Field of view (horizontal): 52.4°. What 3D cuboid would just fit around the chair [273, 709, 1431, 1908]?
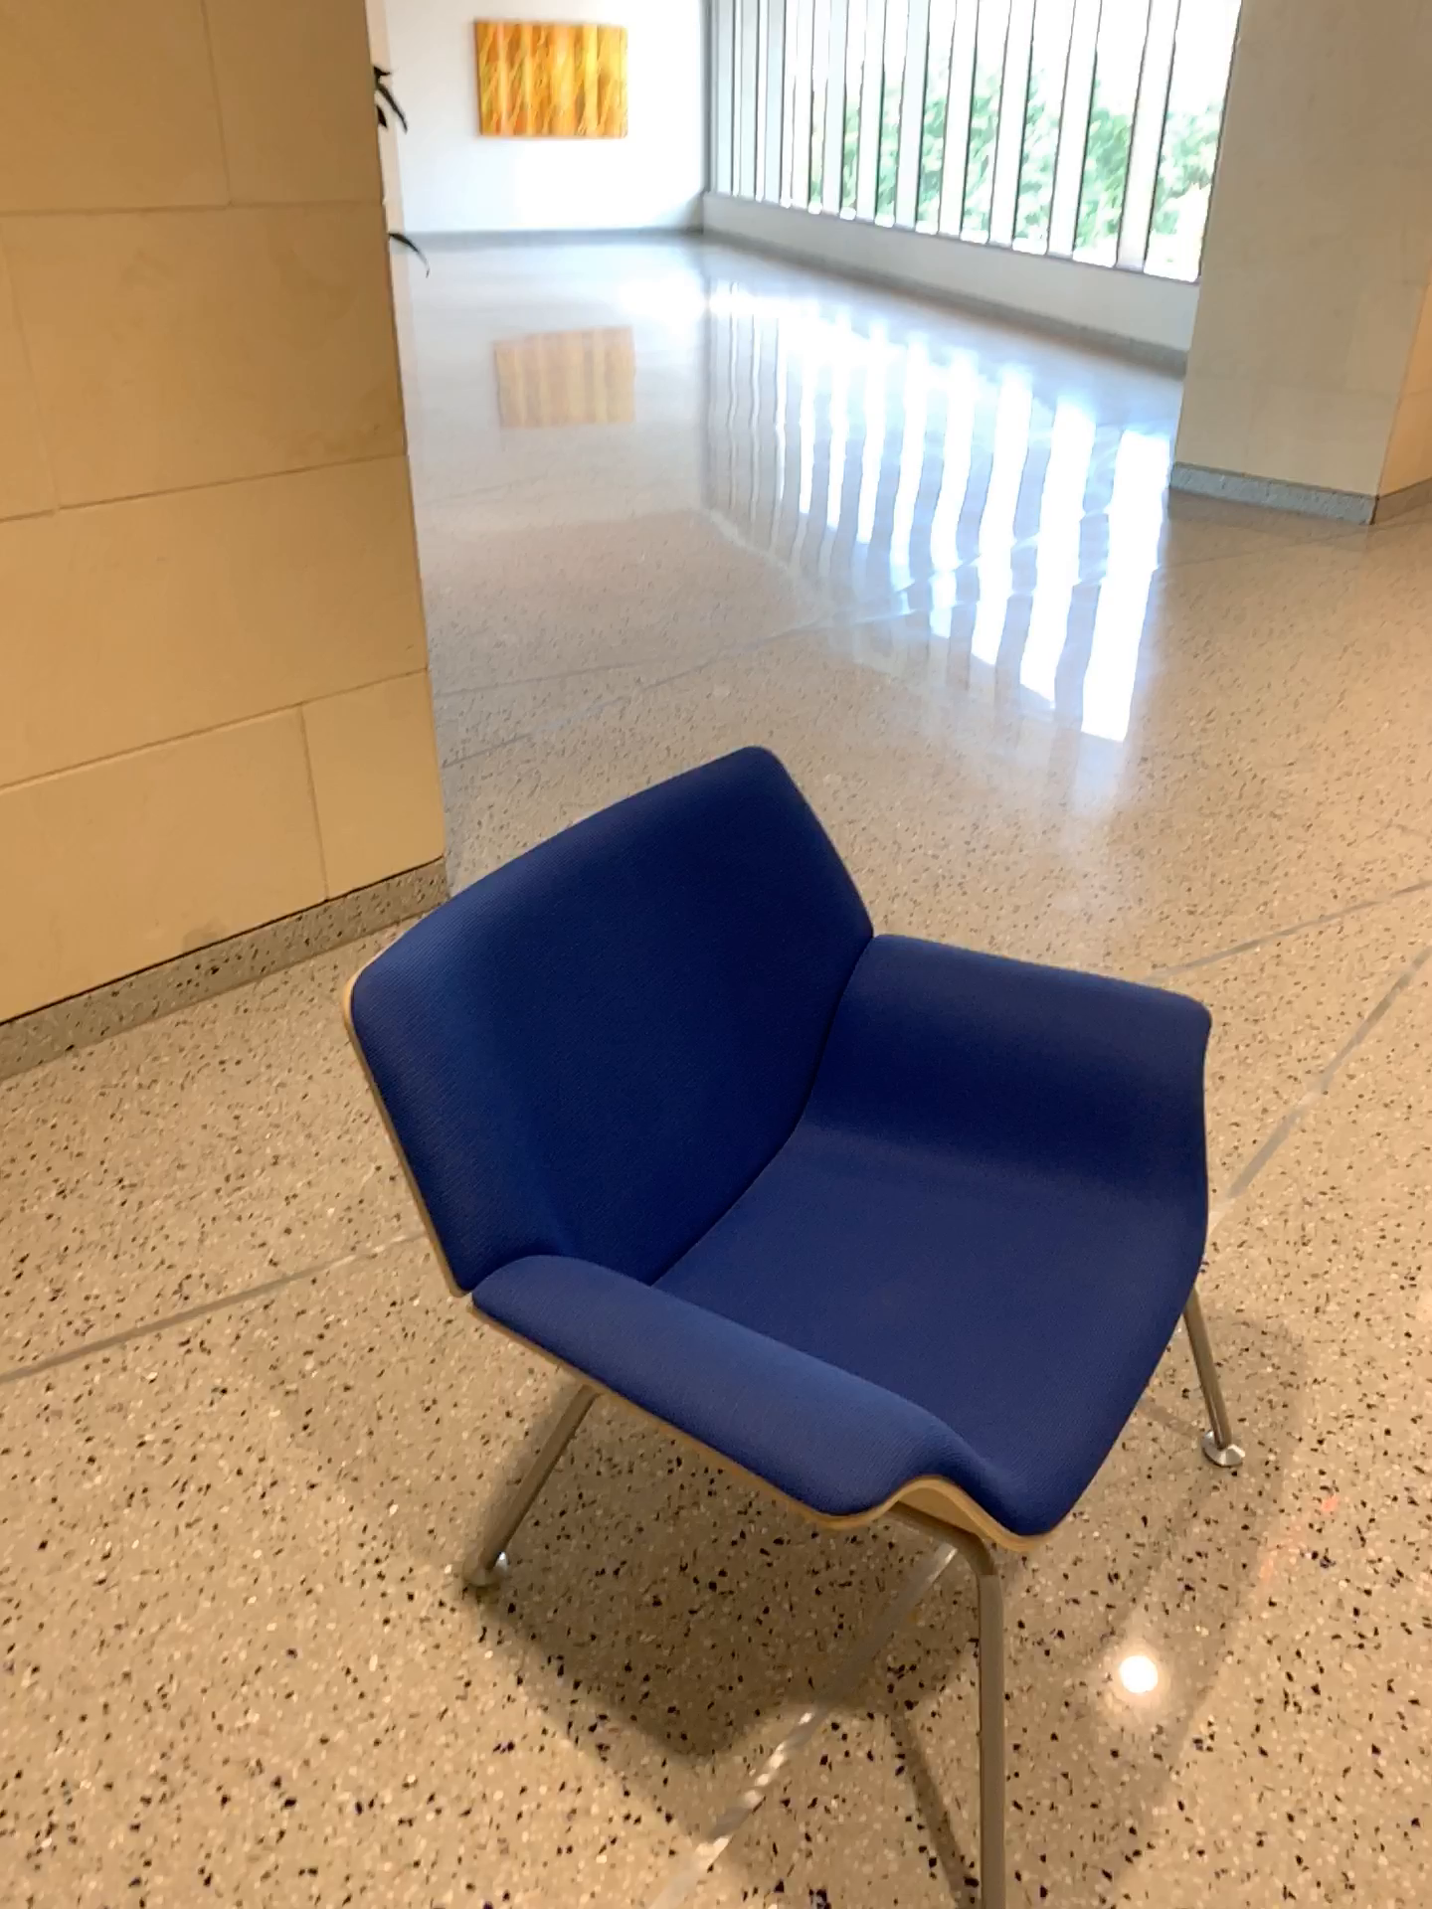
[{"bbox_3d":[0.171,0.292,1.451,0.759,0.728,0.783,18,34,28],"label":"chair"}]
